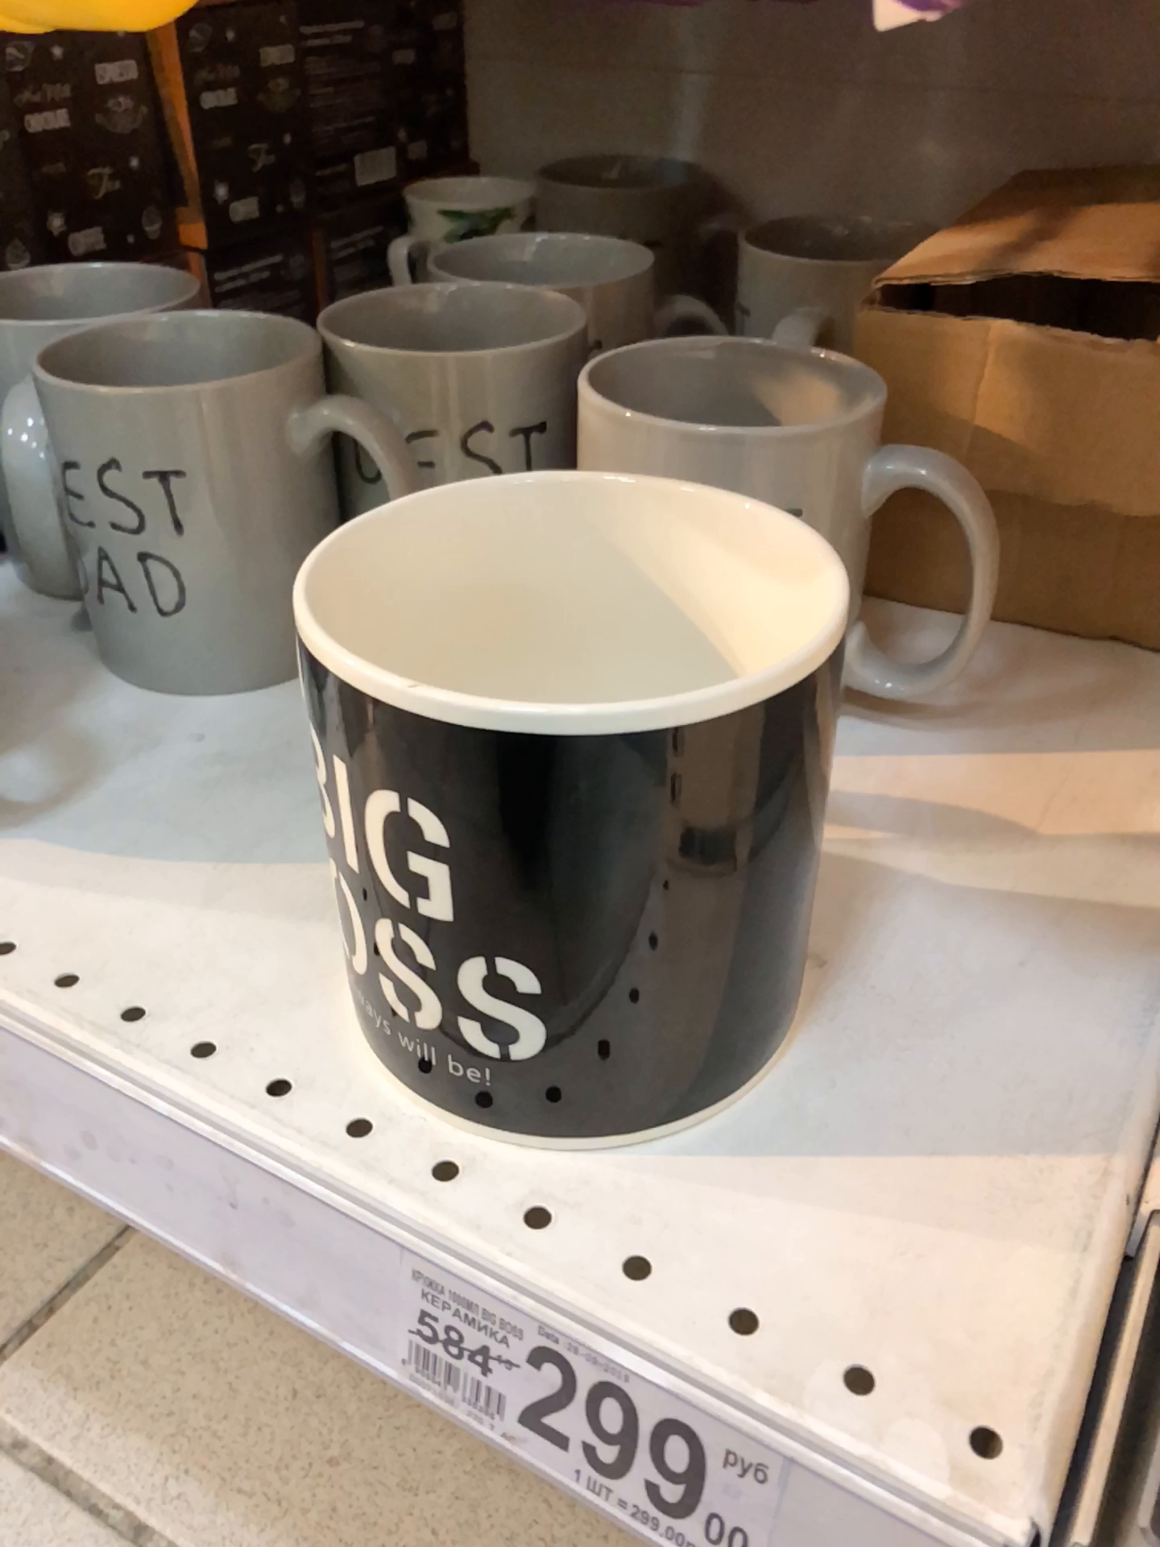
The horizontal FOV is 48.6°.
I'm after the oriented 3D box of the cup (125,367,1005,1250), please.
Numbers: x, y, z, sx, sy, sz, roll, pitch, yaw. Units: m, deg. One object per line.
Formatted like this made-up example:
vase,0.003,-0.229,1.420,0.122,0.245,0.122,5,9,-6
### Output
cup,-0.016,-0.012,0.337,0.128,0.122,0.189,-19,38,-27
